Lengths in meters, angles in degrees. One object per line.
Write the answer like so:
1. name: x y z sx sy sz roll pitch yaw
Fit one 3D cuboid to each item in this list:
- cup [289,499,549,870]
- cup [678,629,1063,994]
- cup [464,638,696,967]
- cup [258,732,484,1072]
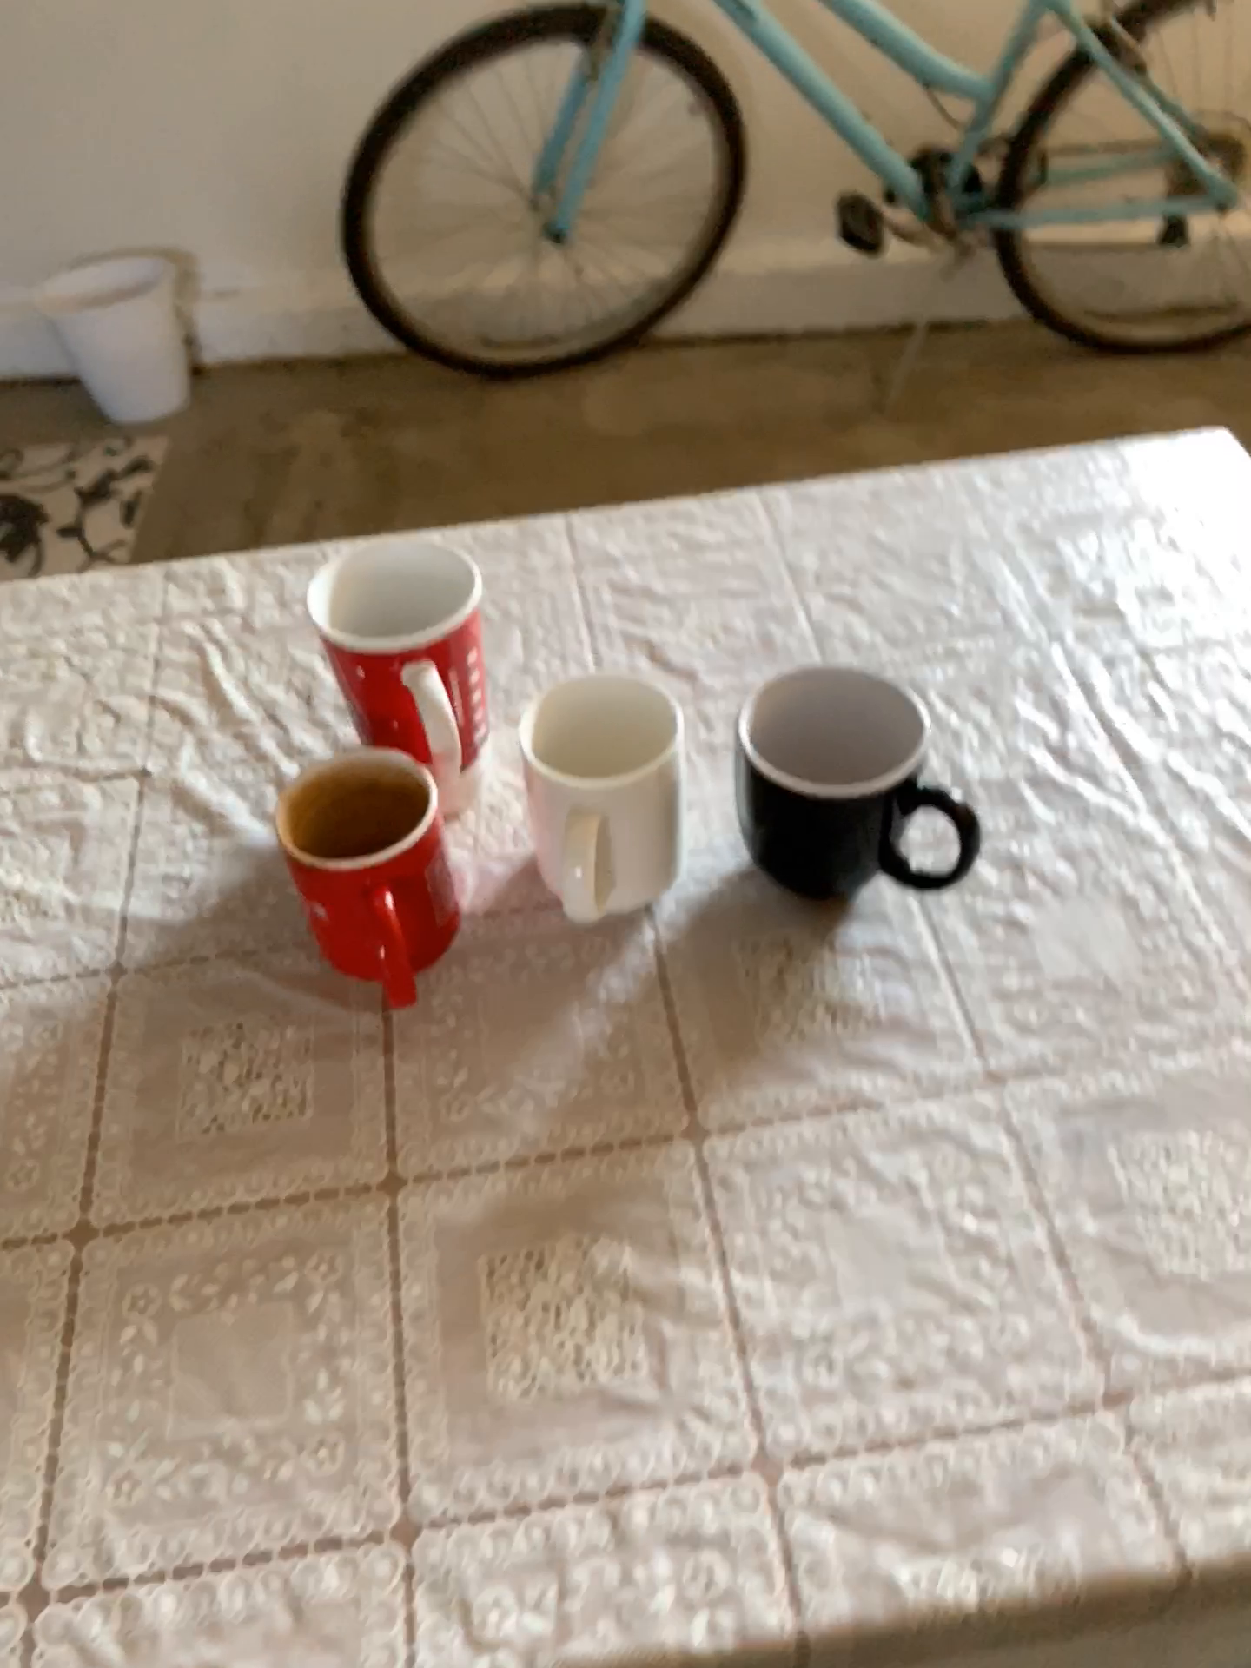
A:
1. cup: -0.120 -0.088 0.762 0.100 0.139 0.141 -16 50 -10
2. cup: 0.127 -0.016 0.698 0.160 0.090 0.110 29 57 26
3. cup: -0.018 -0.019 0.722 0.100 0.110 0.140 3 50 8
4. cup: -0.136 0.034 0.691 0.090 0.090 0.141 -12 49 -5
